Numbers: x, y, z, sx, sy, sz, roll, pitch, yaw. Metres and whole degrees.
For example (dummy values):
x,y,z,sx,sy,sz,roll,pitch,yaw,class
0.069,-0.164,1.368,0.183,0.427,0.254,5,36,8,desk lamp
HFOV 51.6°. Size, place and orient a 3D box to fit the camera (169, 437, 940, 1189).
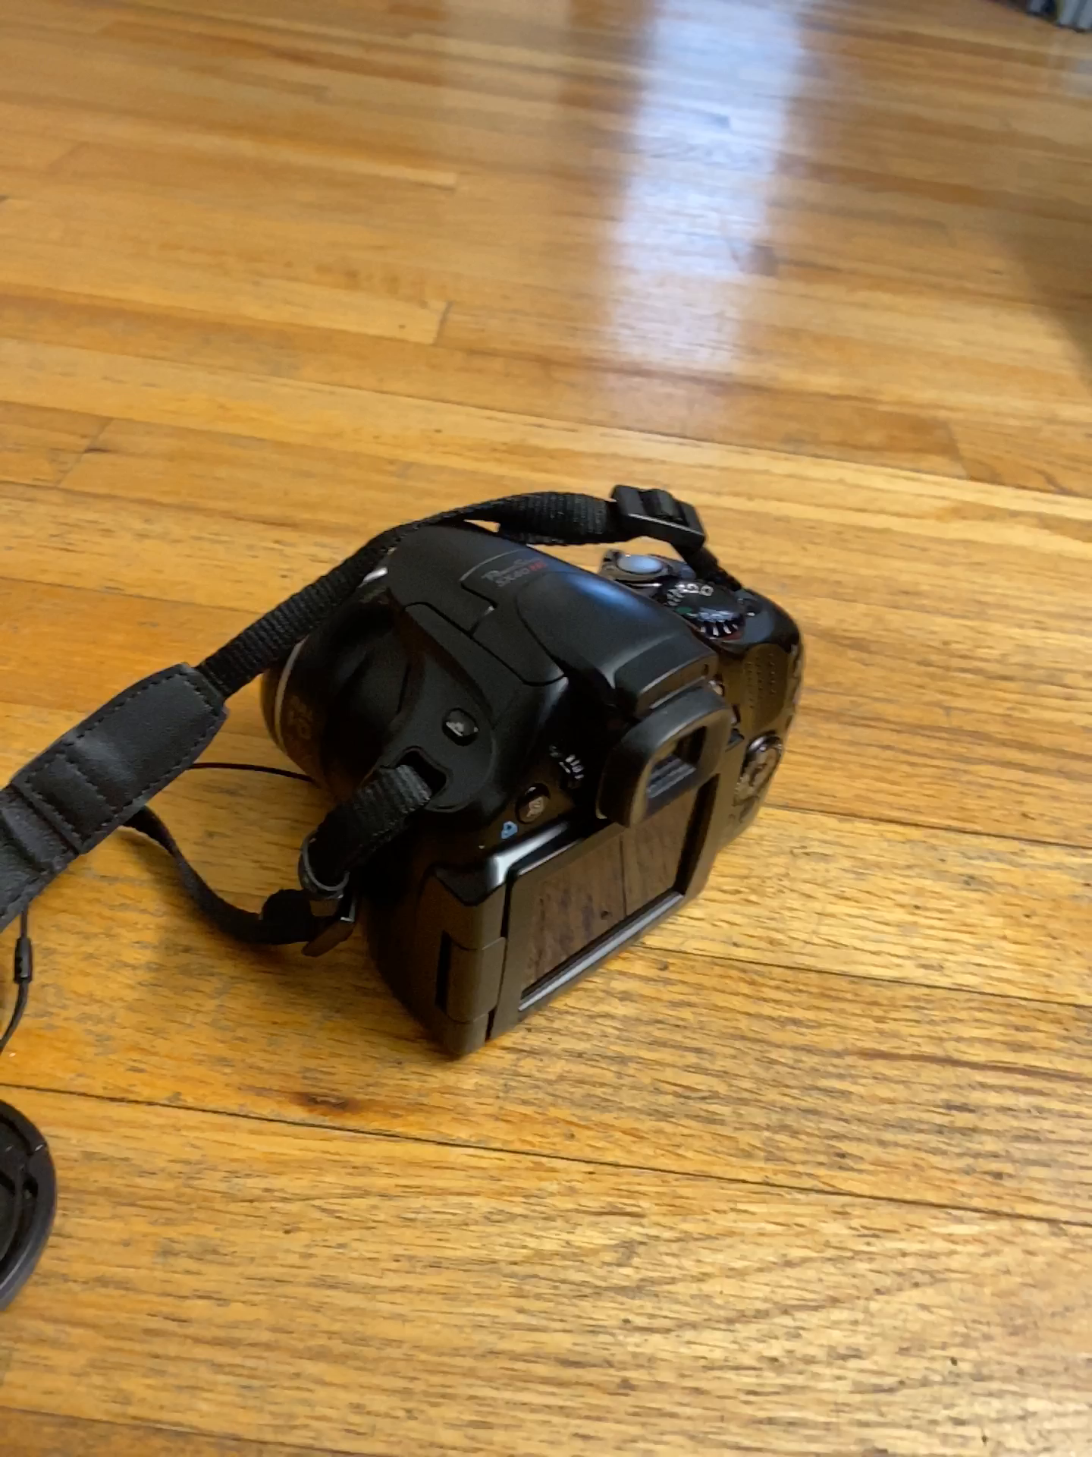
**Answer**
x,y,z,sx,sy,sz,roll,pitch,yaw,class
-0.003,0.008,0.274,0.120,0.089,0.120,-26,51,-35,camera
